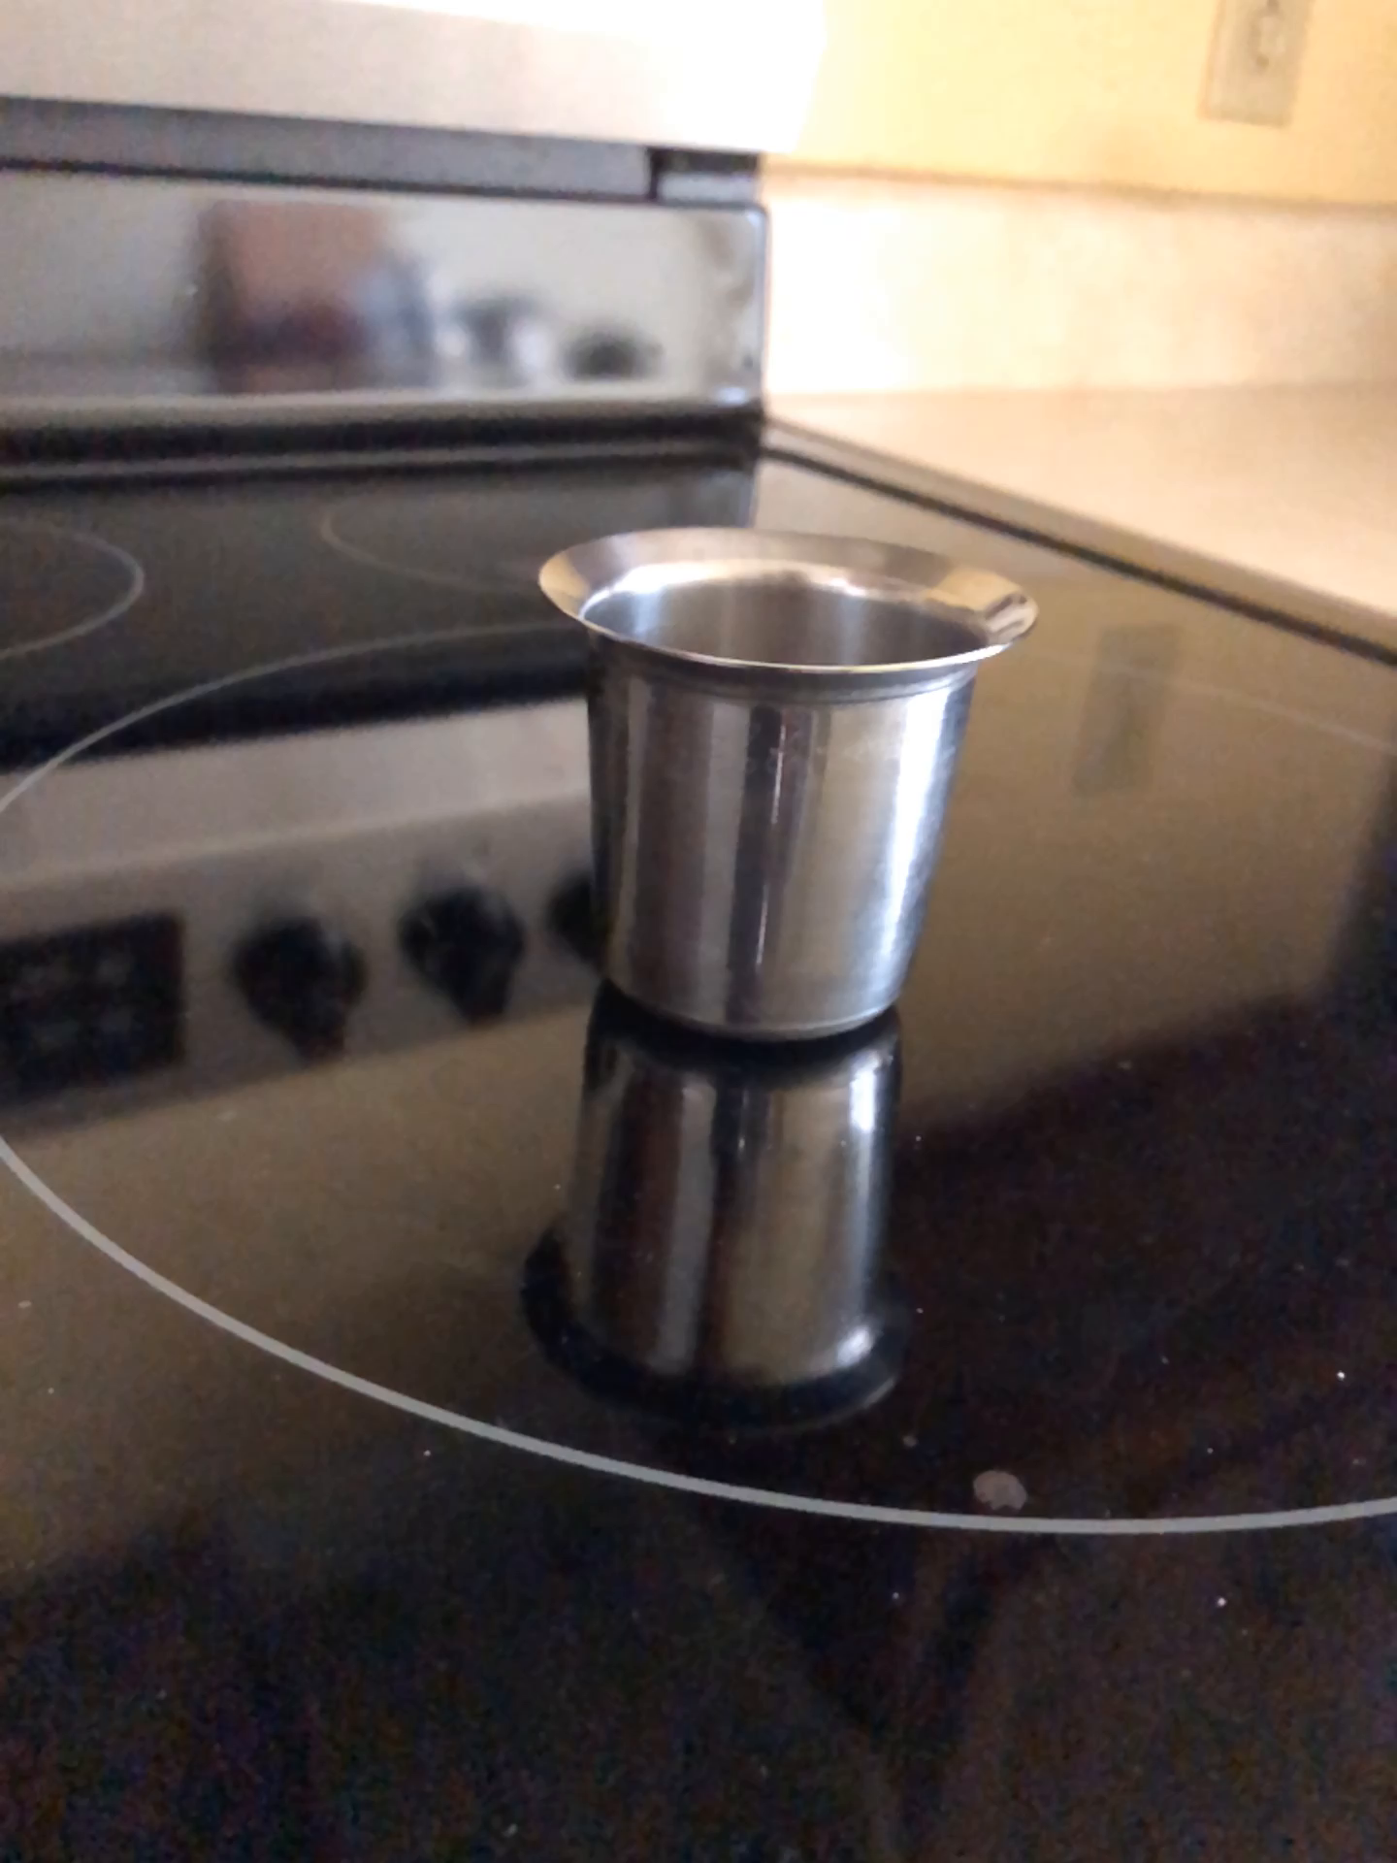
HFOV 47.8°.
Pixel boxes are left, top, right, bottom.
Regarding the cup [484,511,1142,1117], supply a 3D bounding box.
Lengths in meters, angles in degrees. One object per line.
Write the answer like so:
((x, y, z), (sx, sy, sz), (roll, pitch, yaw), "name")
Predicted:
((0.008, -0.021, 0.214), (0.066, 0.056, 0.073), (3, 26, -2), "cup")
